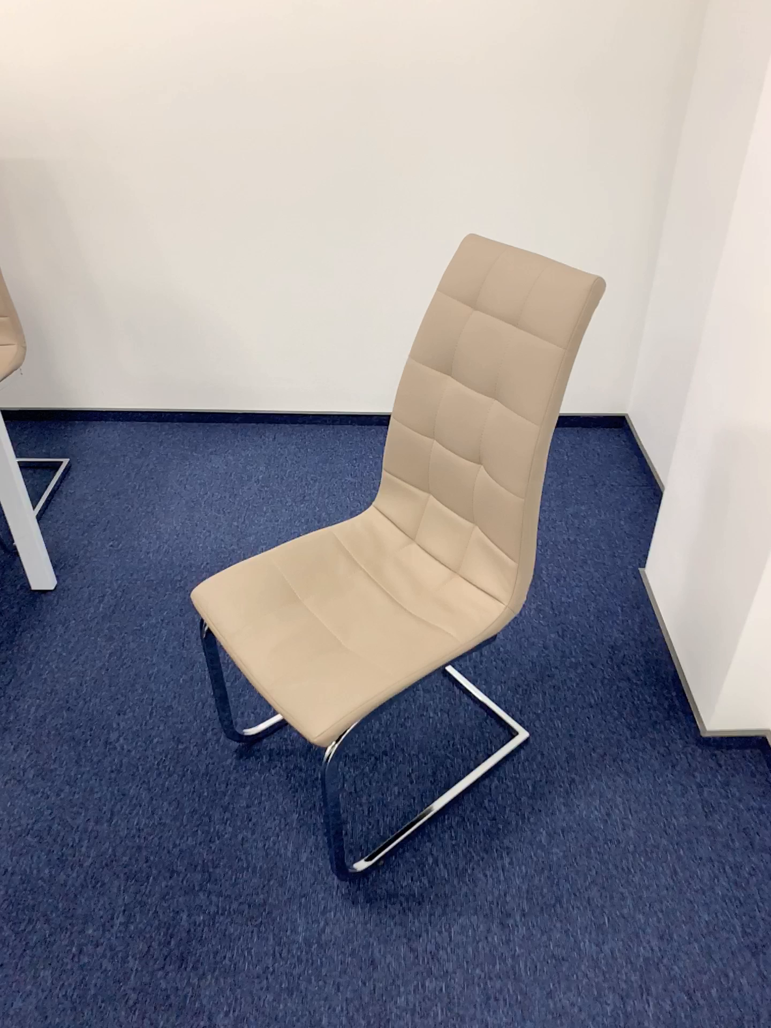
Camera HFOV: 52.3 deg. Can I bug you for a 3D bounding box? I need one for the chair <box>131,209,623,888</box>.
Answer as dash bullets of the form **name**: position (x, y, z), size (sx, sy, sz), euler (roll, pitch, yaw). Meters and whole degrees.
- **chair**: position (-0.013, 0.066, 1.384), size (0.531, 0.984, 0.441), euler (-25, 42, -30)
